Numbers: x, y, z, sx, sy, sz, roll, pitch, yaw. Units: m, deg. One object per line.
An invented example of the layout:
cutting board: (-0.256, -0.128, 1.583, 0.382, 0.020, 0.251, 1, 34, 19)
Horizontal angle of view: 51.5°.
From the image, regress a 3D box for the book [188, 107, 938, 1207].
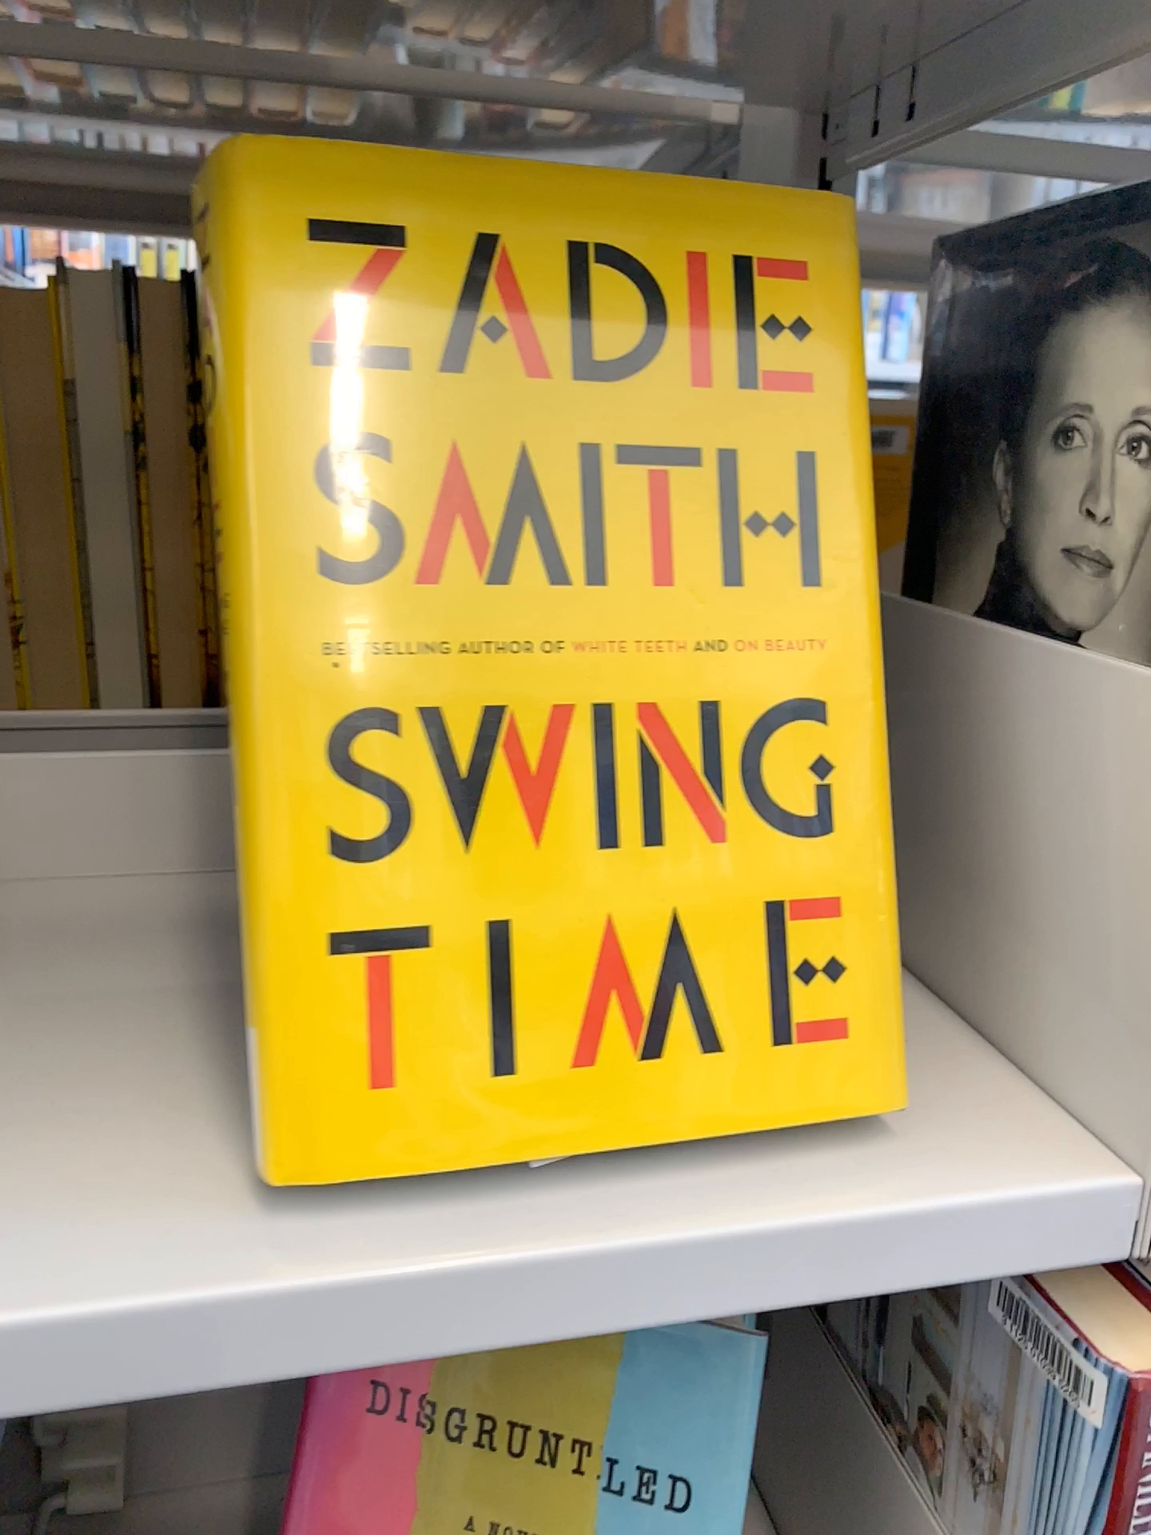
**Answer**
book: (-0.006, -0.027, 0.303, 0.167, 0.233, 0.060, -2, -3, -16)
